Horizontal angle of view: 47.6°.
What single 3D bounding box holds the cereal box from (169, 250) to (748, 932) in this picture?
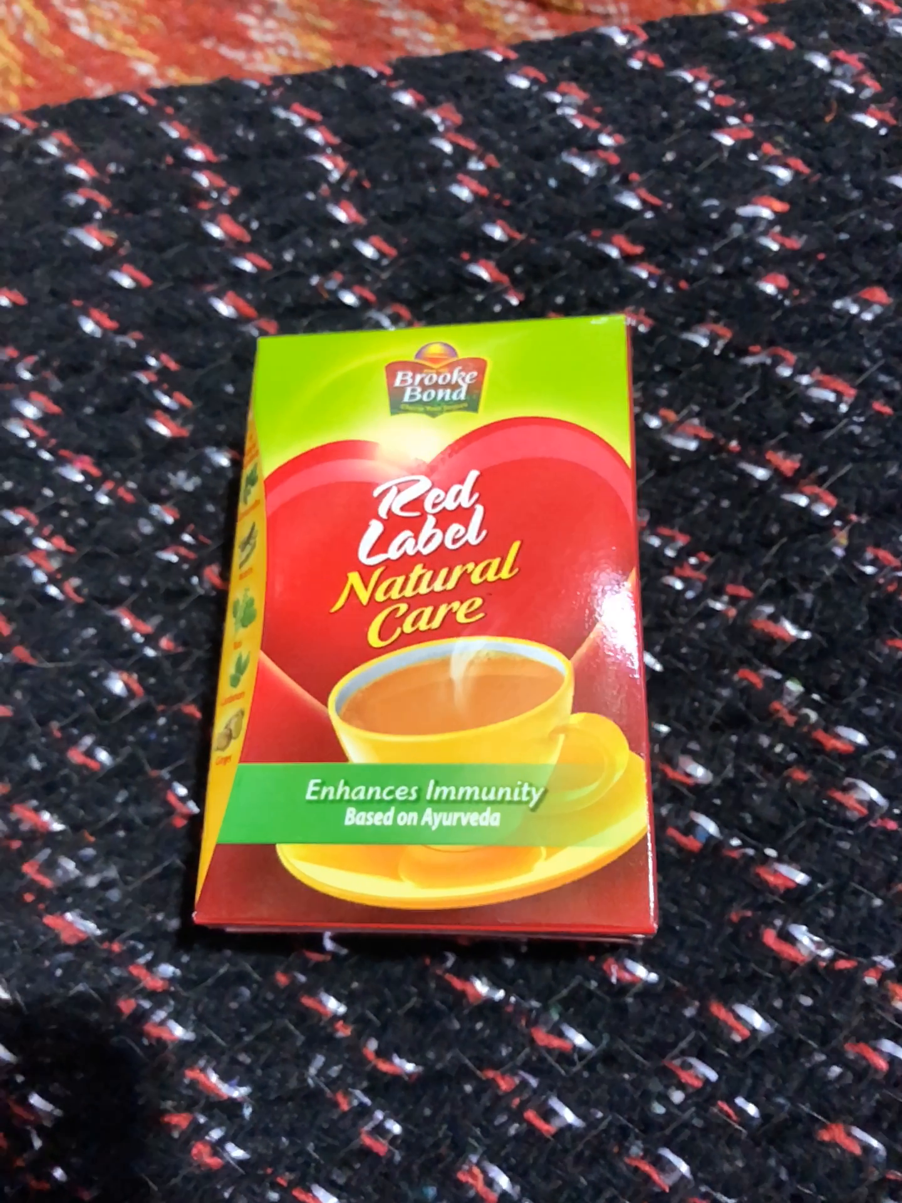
[{"bbox_3d":[0.003,-0.002,0.179,0.080,0.040,0.110,0,70,5],"label":"cereal box"}]
